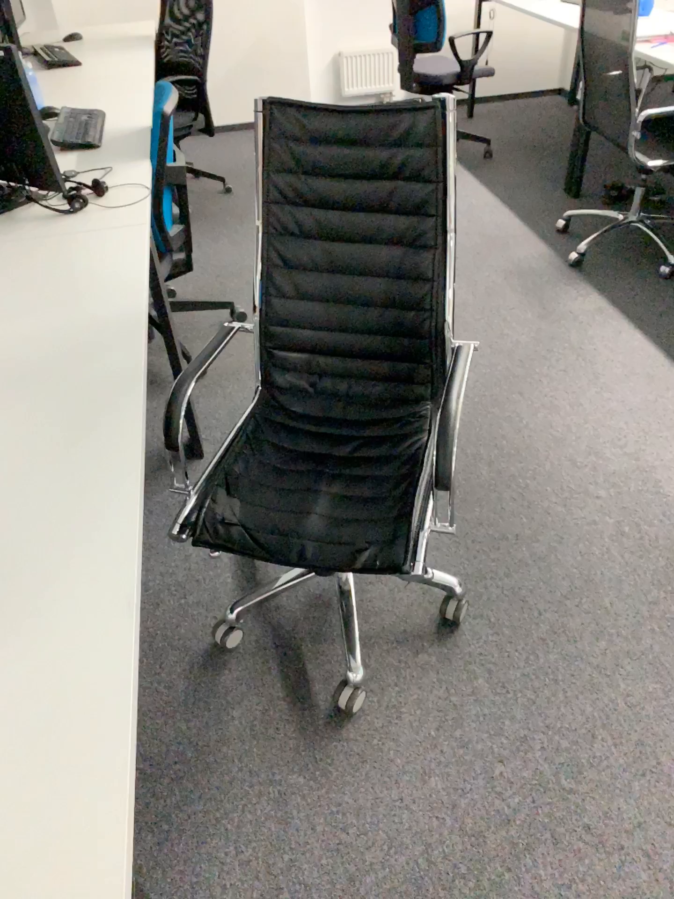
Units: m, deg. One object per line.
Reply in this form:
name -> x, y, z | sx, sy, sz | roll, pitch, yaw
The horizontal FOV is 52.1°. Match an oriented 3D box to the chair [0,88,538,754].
chair -> -0.016, -0.045, 1.459 | 0.640, 1.134, 0.693 | 10, 42, 16
